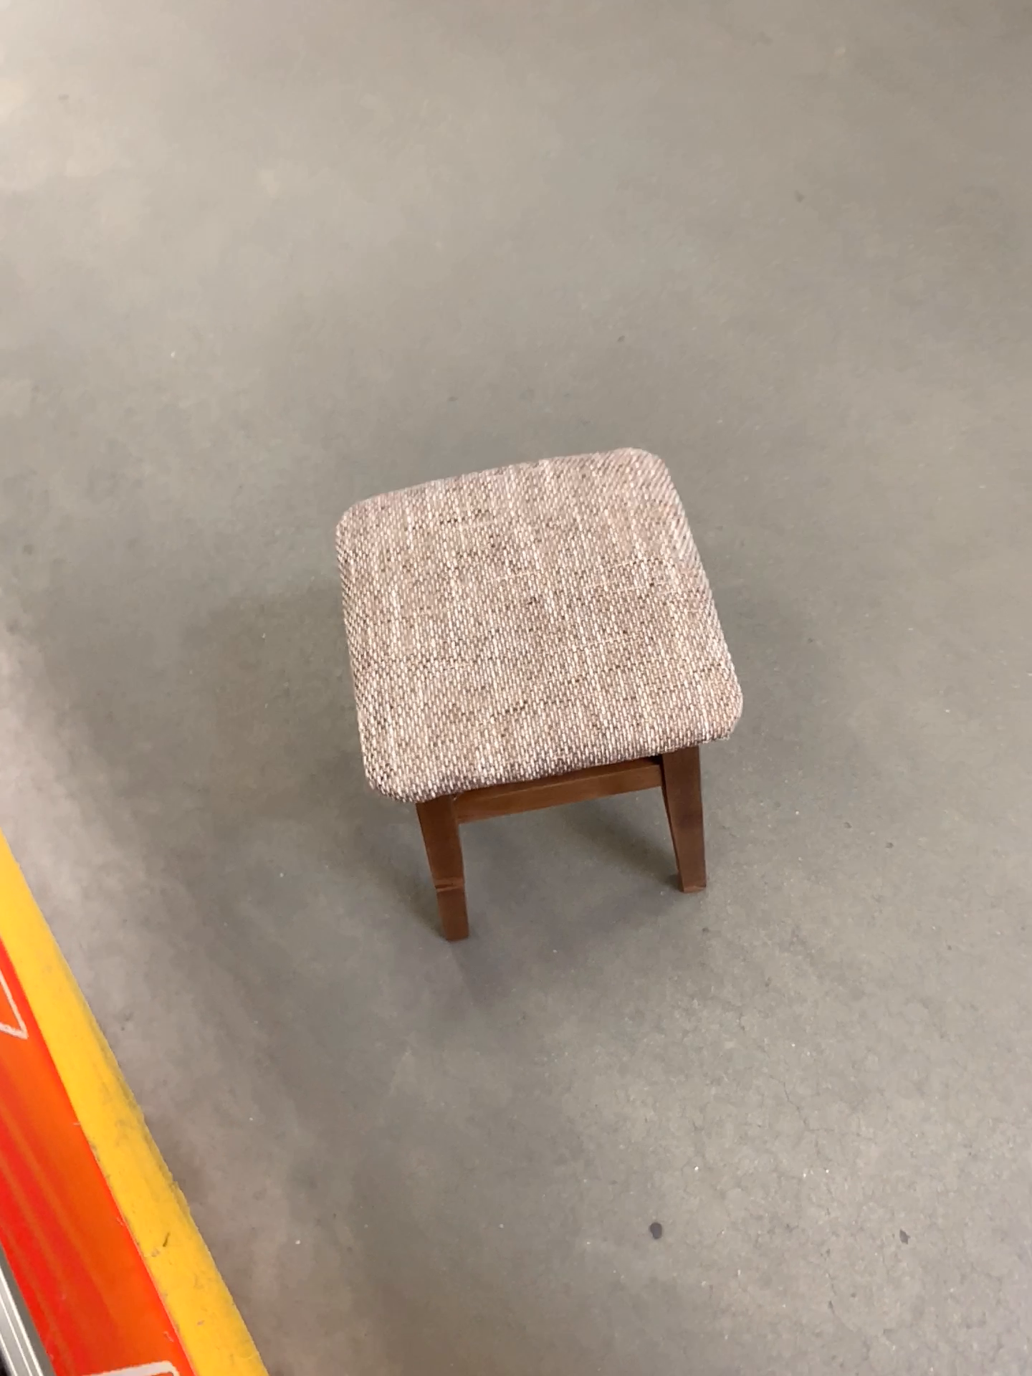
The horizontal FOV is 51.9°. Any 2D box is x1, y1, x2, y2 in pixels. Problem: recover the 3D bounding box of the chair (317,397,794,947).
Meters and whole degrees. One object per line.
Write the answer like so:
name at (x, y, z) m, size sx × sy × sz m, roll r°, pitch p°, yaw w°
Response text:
chair at (0.041, 0.017, 1.144) m, size 0.360 × 0.479 × 0.341 m, roll -12°, pitch 62°, yaw 0°
